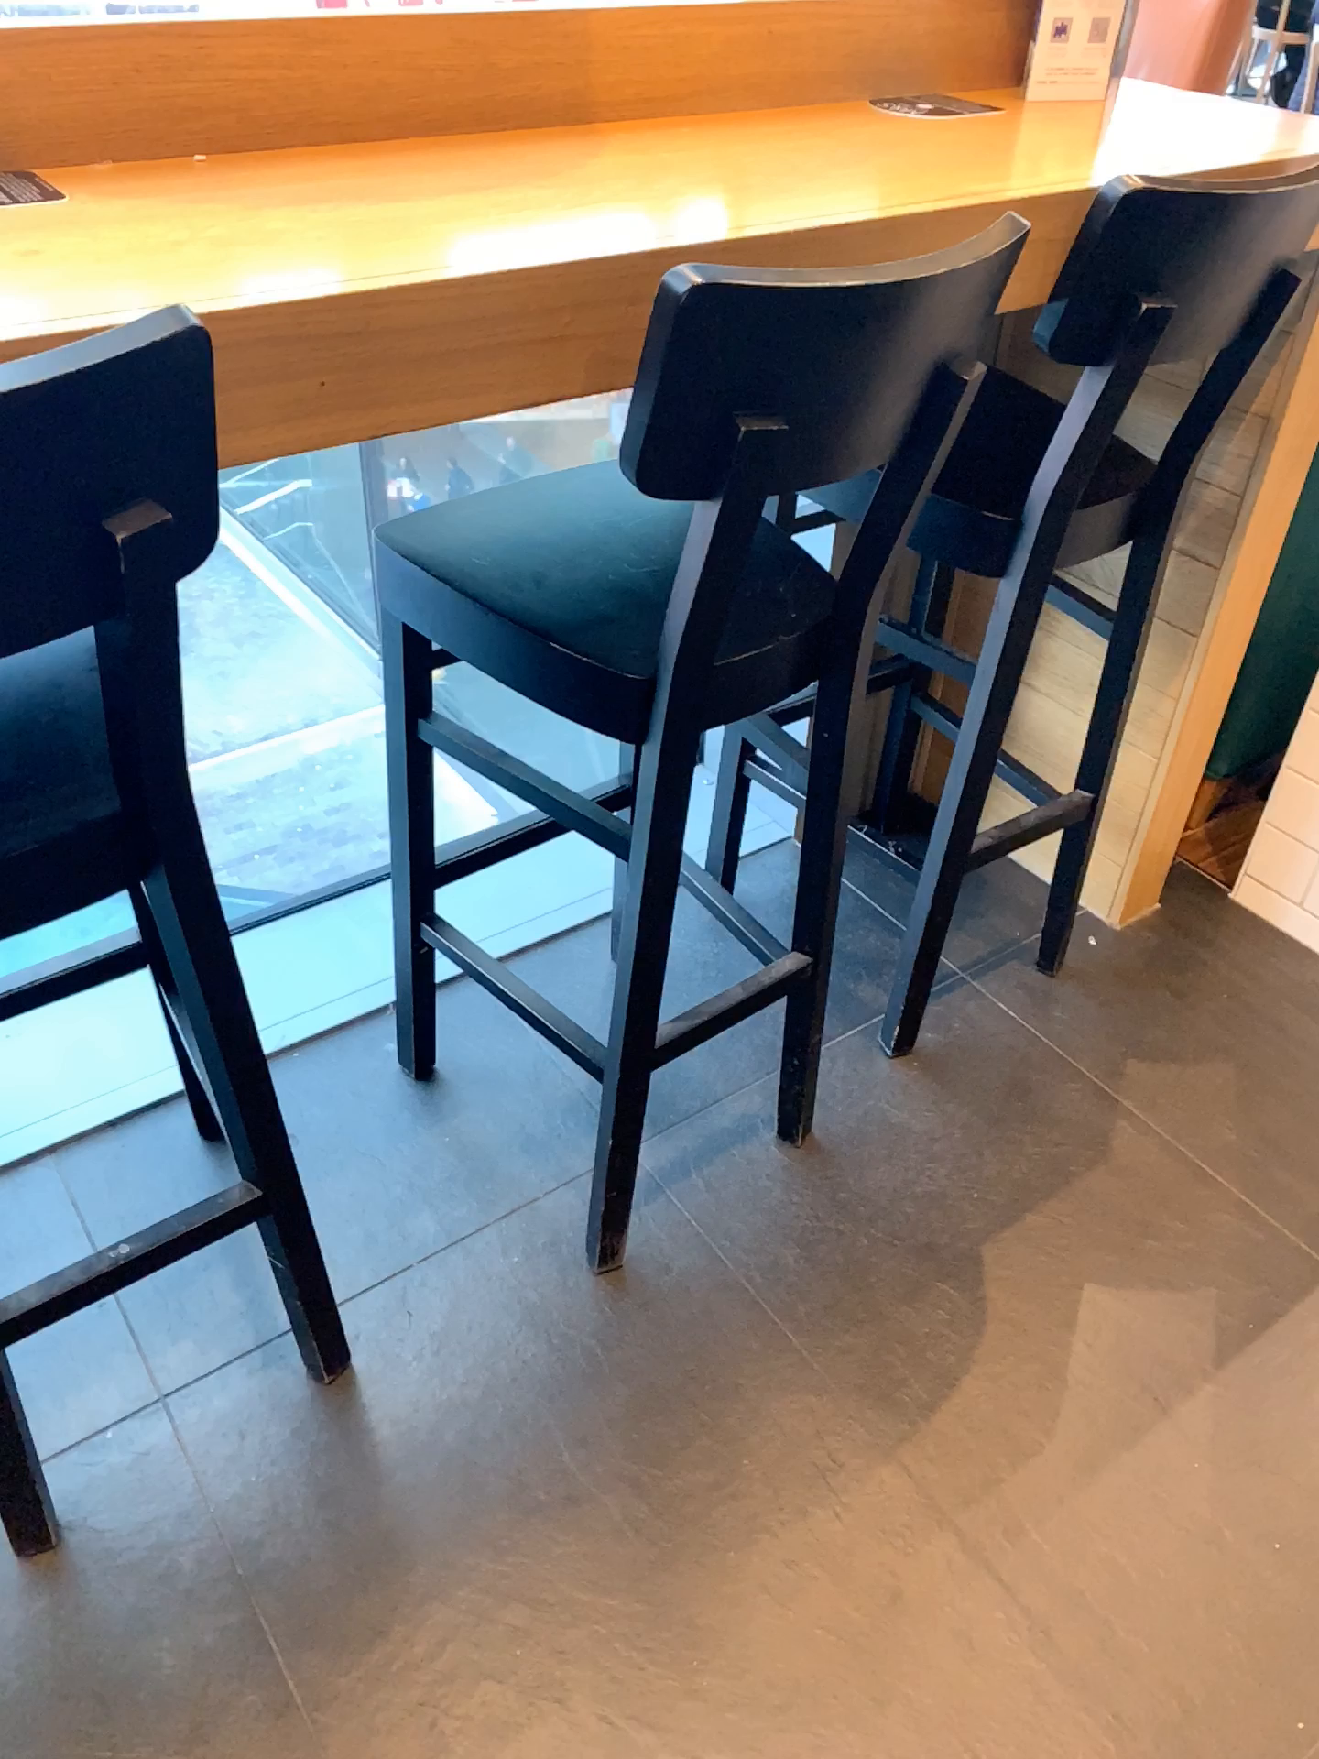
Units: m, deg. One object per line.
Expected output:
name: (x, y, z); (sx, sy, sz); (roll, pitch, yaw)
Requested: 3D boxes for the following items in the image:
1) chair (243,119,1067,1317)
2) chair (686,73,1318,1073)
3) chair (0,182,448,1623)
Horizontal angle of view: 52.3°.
chair: (-0.027, -0.142, 1.348); (0.454, 1.001, 0.463); (-26, 45, -32)
chair: (0.365, -0.349, 1.616); (0.424, 1.001, 0.463); (-24, 45, -31)
chair: (-0.486, 0.051, 1.085); (0.394, 1.001, 0.463); (-22, 44, -29)
